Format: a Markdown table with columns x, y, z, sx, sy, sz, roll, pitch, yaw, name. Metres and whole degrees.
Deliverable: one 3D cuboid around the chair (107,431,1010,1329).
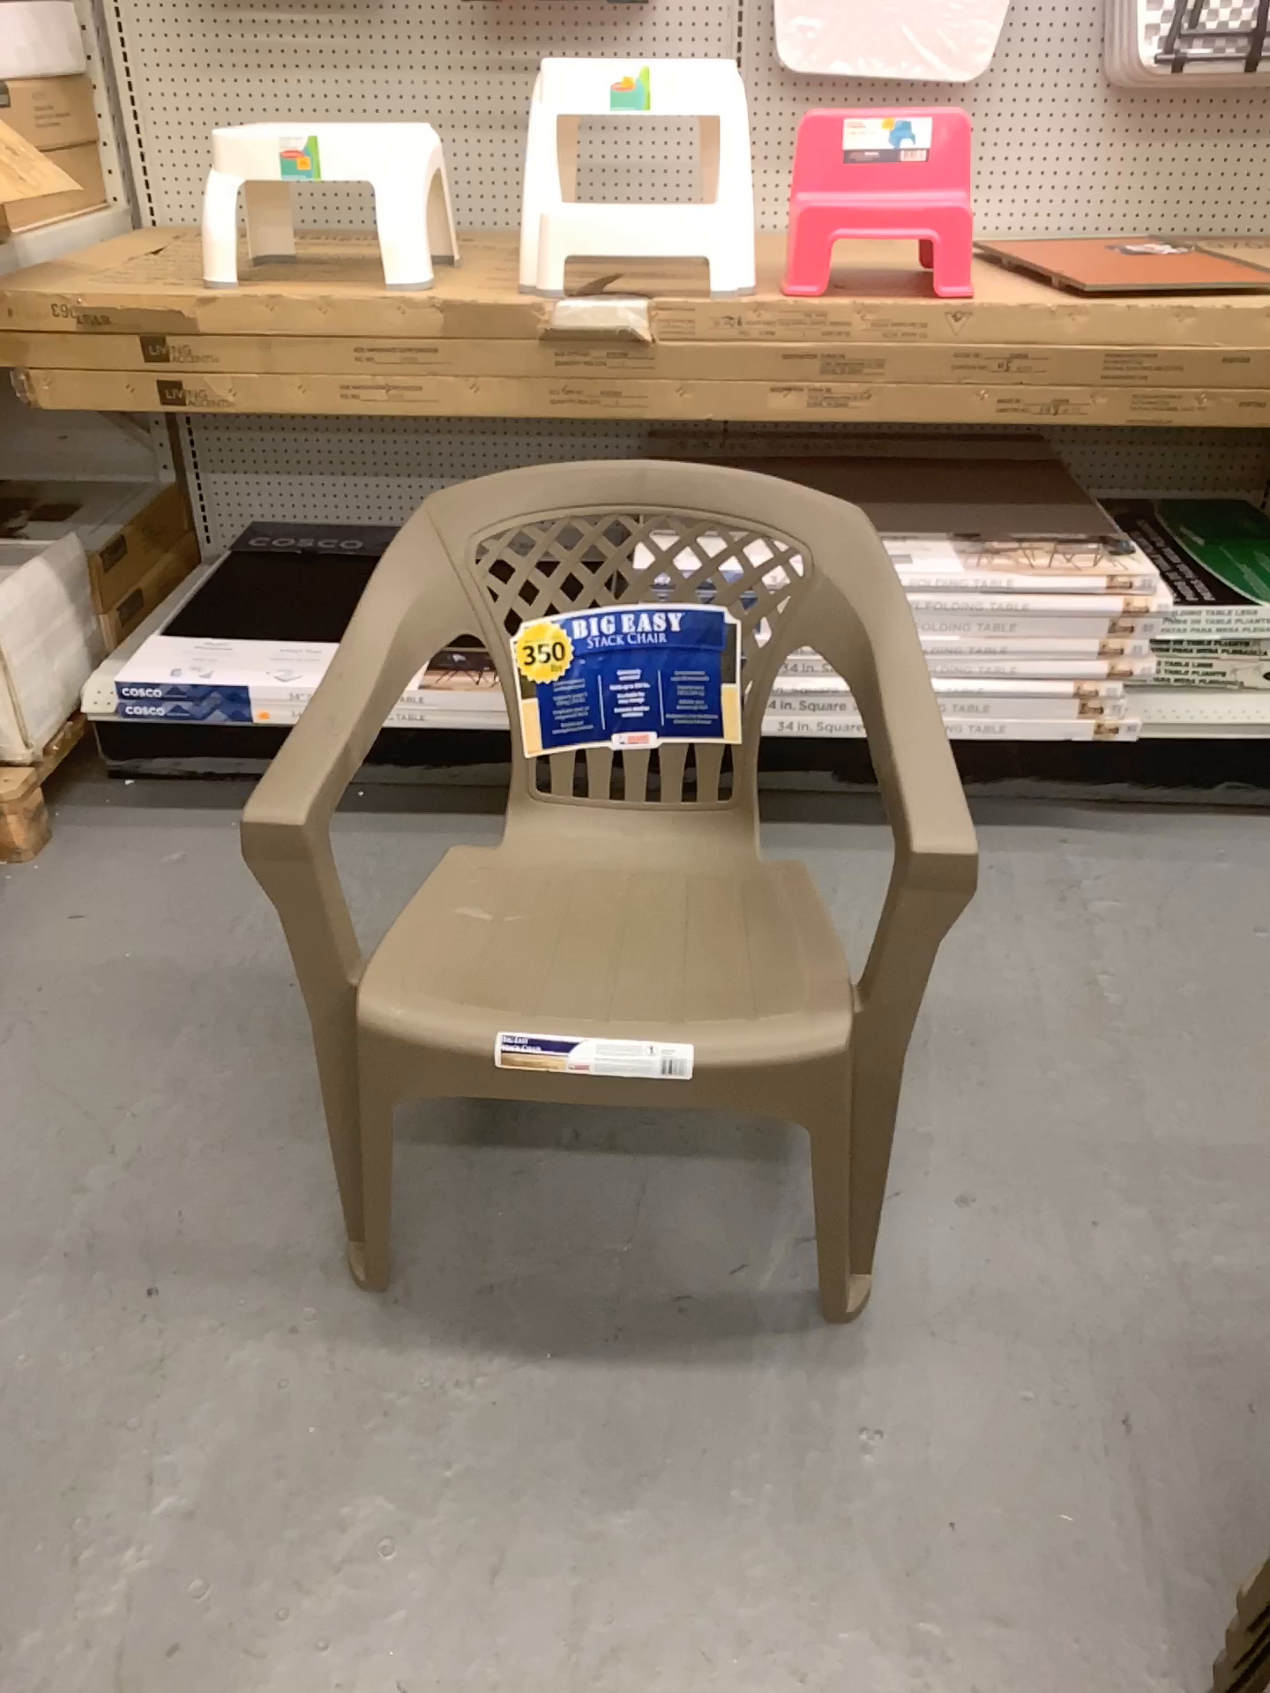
| x | y | z | sx | sy | sz | roll | pitch | yaw | name |
| --- | --- | --- | --- | --- | --- | --- | --- | --- | --- |
| -0.058 | 0.024 | 1.570 | 0.766 | 0.878 | 0.590 | 2 | 31 | 3 | chair |
